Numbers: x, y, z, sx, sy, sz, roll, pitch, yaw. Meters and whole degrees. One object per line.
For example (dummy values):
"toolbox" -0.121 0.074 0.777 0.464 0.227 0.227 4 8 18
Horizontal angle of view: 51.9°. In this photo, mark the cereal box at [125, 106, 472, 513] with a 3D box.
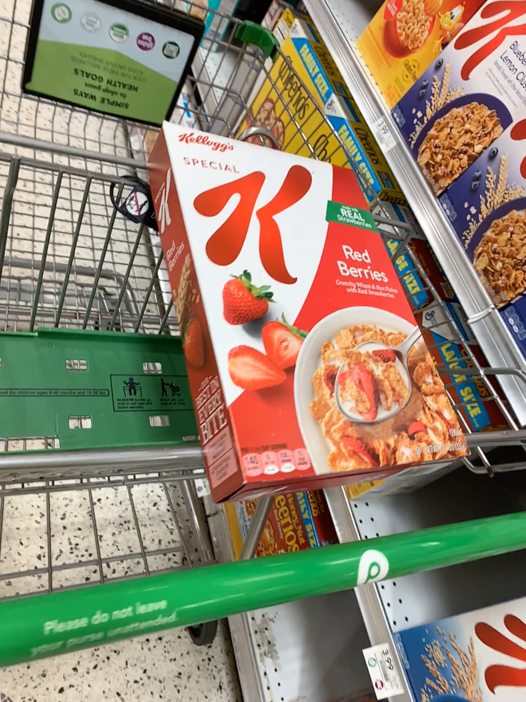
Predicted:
"cereal box" 0.019 -0.042 0.423 0.201 0.059 0.291 1 61 -32
